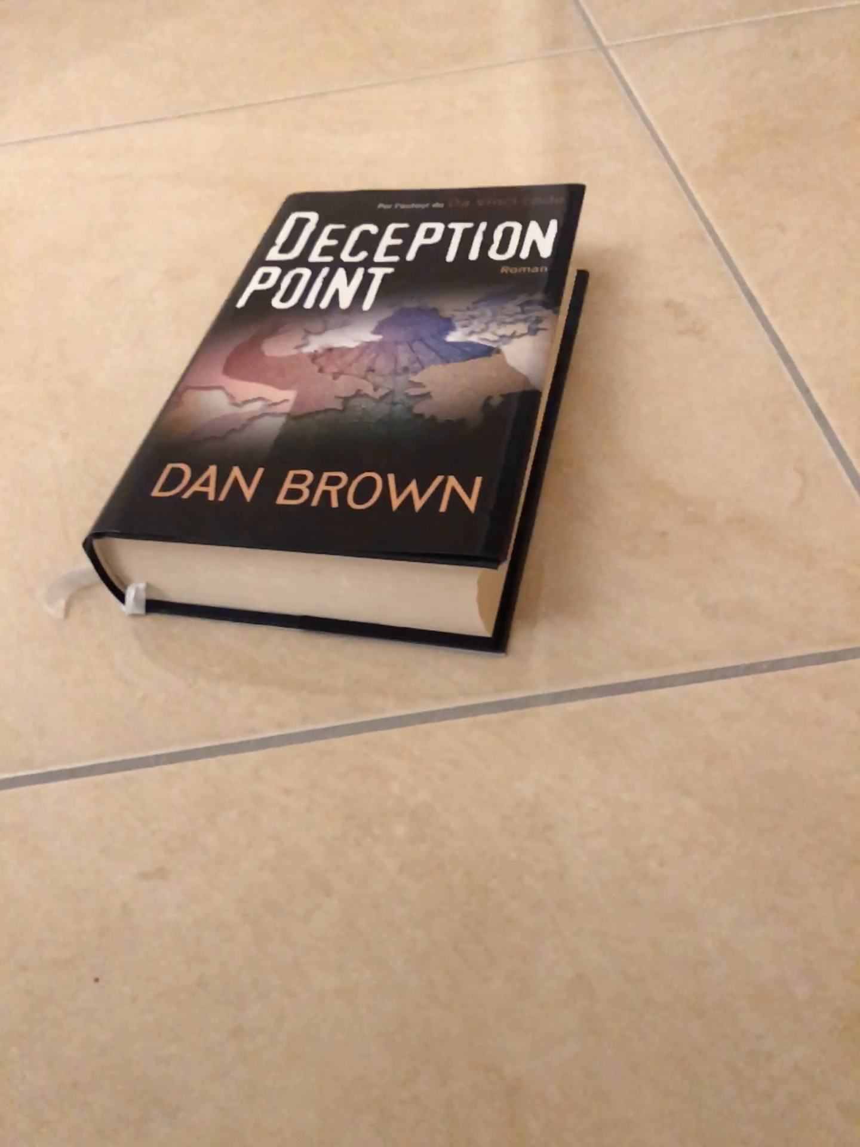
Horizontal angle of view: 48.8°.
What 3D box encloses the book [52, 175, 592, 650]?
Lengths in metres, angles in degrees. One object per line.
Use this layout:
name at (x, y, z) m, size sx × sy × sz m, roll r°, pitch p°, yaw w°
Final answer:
book at (-0.022, -0.074, 0.349) m, size 0.136 × 0.037 × 0.213 m, roll 4°, pitch 50°, yaw 16°
